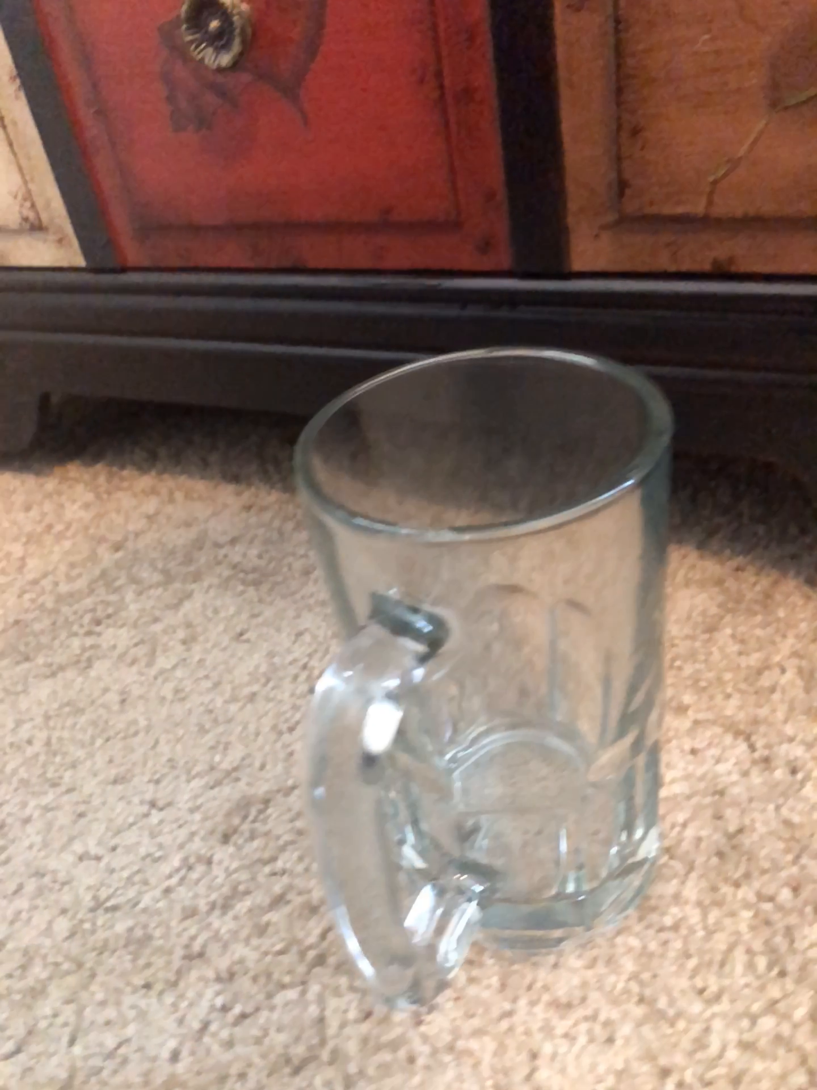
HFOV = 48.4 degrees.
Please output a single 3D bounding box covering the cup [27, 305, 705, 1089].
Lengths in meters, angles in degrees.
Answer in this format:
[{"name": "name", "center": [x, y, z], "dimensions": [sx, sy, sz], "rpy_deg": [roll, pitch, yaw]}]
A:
[{"name": "cup", "center": [0.010, 0.039, 0.241], "dimensions": [0.096, 0.156, 0.134], "rpy_deg": [11, 38, 25]}]
